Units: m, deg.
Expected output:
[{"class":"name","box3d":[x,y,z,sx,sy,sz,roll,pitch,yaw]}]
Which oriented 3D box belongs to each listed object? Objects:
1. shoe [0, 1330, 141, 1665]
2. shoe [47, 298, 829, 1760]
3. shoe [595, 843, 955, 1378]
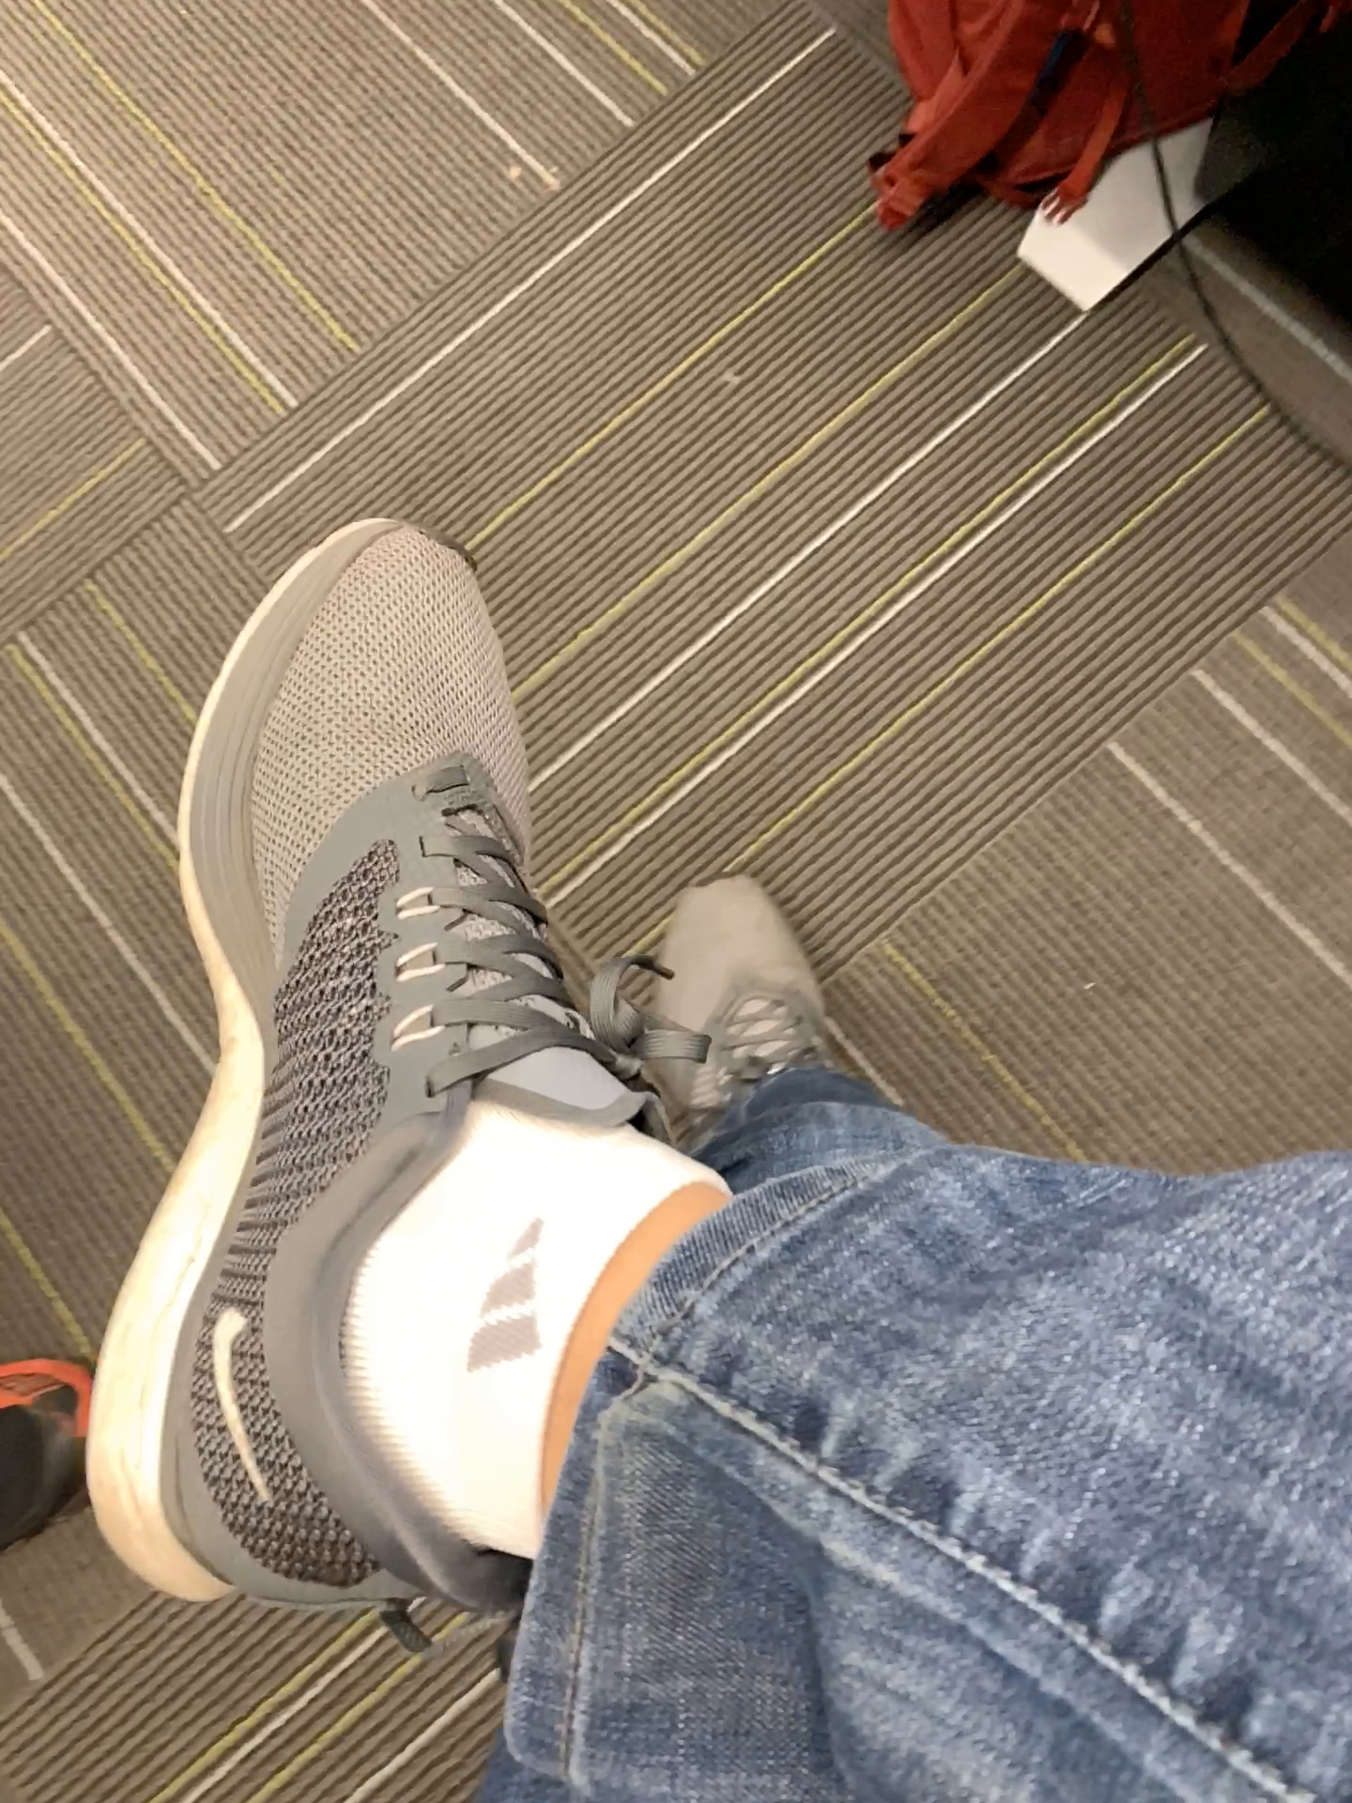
[{"class":"shoe","box3d":[-0.518,0.386,0.909,0.276,0.117,0.112,-17,68,-4]},{"class":"shoe","box3d":[-0.052,0.028,0.363,0.142,0.115,0.294,-12,70,39]},{"class":"shoe","box3d":[0.058,0.125,0.860,0.117,0.074,0.293,-21,76,3]}]
